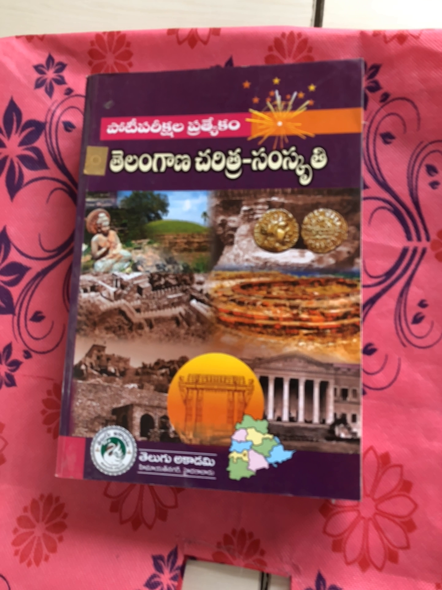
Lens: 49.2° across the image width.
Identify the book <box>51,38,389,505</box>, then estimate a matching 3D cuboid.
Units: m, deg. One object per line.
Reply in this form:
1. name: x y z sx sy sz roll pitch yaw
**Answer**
1. book: 0.003 -0.021 0.325 0.200 0.050 0.280 1 82 9
